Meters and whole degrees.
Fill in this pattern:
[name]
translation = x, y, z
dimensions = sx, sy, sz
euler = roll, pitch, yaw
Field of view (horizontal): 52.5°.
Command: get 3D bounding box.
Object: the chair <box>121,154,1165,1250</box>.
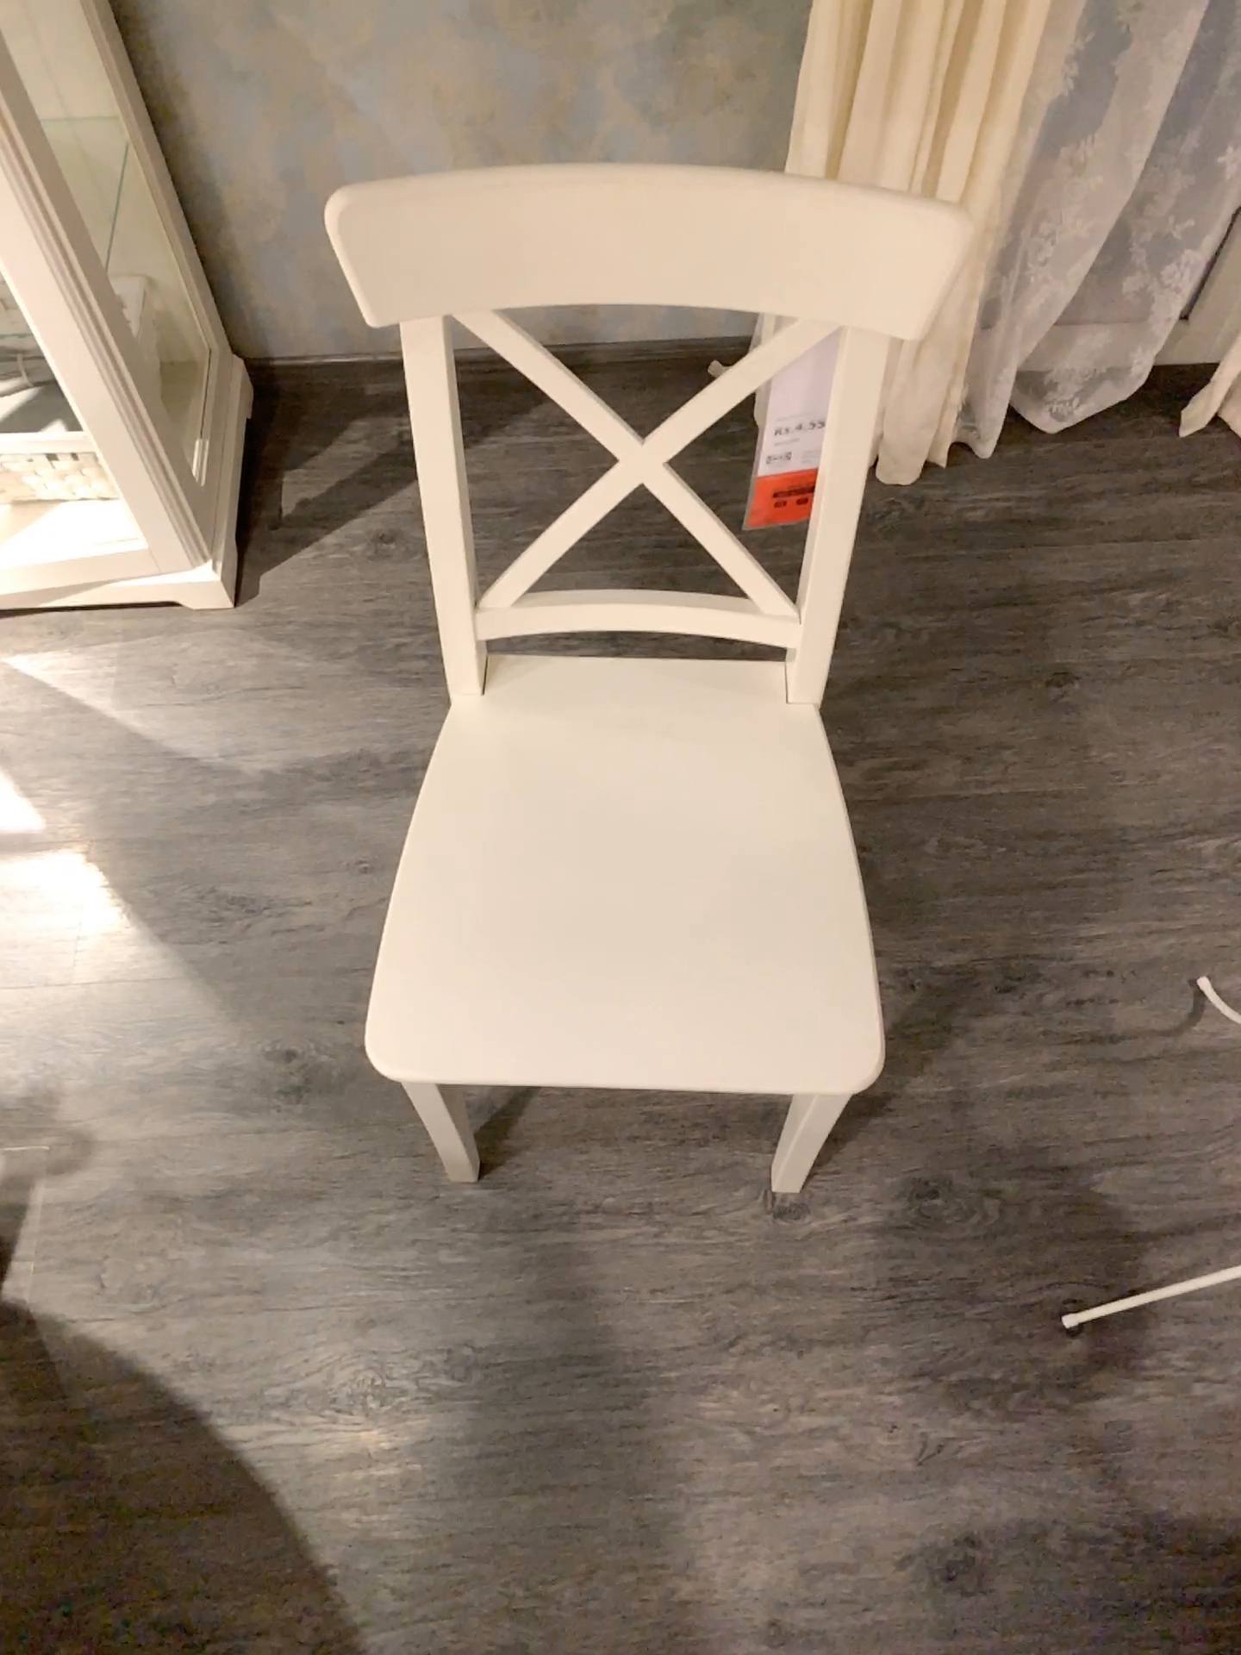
[chair]
translation = 0.011, 0.004, 1.025
dimensions = 0.450, 0.809, 0.541
euler = 0, 64, 0
